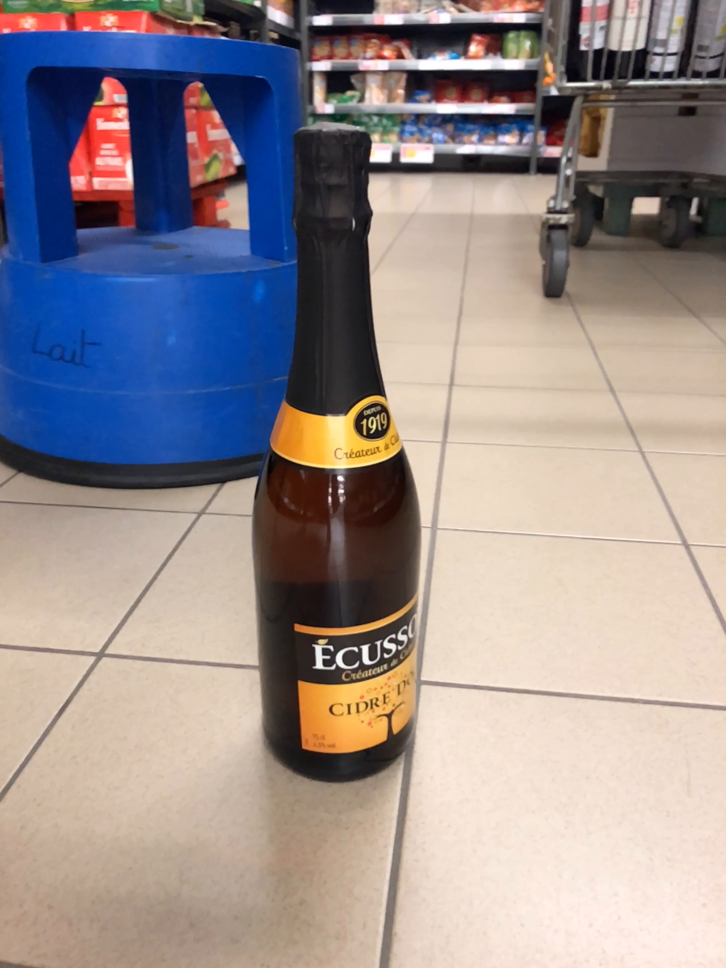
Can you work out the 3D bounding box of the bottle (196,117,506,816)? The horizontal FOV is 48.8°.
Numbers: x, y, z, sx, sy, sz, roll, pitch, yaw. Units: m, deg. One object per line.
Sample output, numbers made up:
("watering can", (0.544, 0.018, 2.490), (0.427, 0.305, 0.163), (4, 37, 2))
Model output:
("bottle", (-0.009, -0.006, 0.372), (0.090, 0.298, 0.090), (0, 23, 0))
